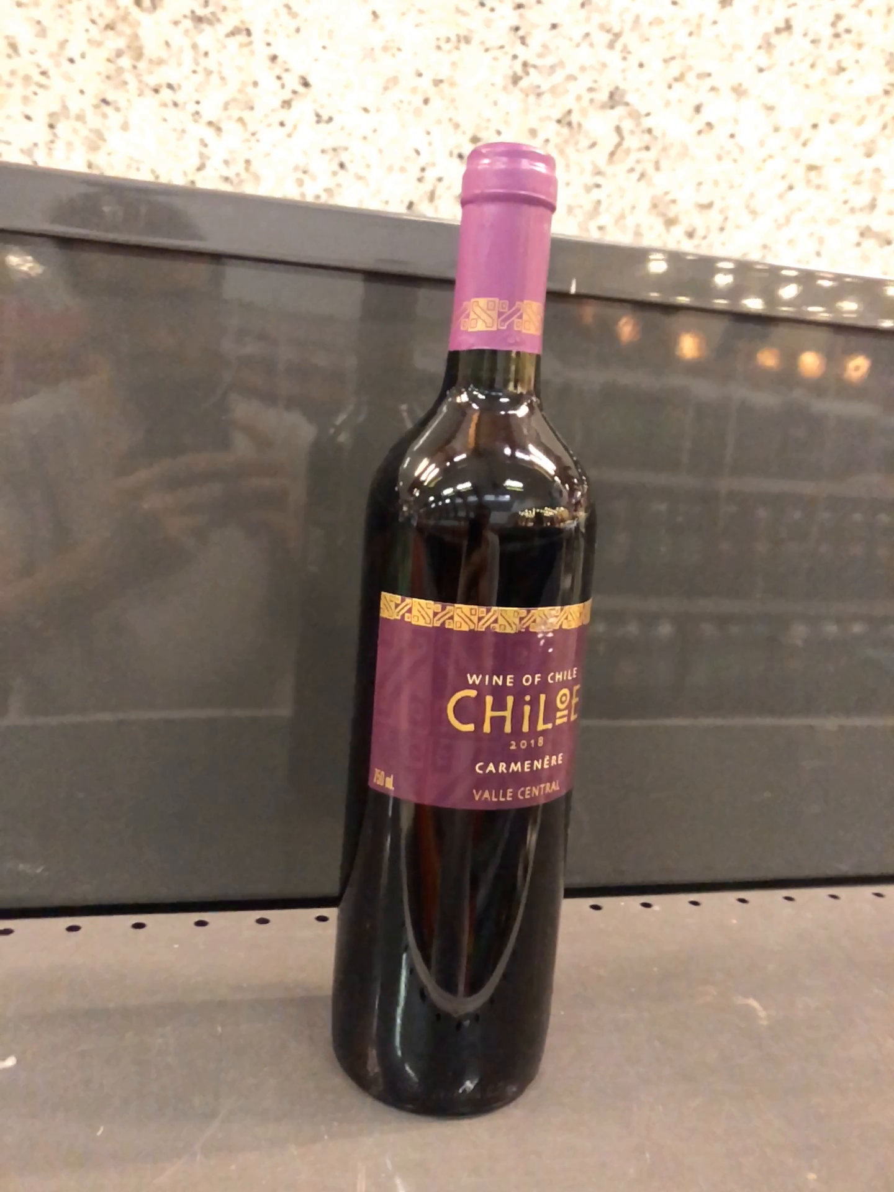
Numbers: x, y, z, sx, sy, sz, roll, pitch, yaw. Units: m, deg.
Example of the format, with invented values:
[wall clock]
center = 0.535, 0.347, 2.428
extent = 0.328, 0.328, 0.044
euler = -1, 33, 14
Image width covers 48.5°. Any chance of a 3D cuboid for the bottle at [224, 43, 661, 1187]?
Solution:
[bottle]
center = -0.010, 0.012, 0.326
extent = 0.090, 0.319, 0.080
euler = -1, 12, -29
